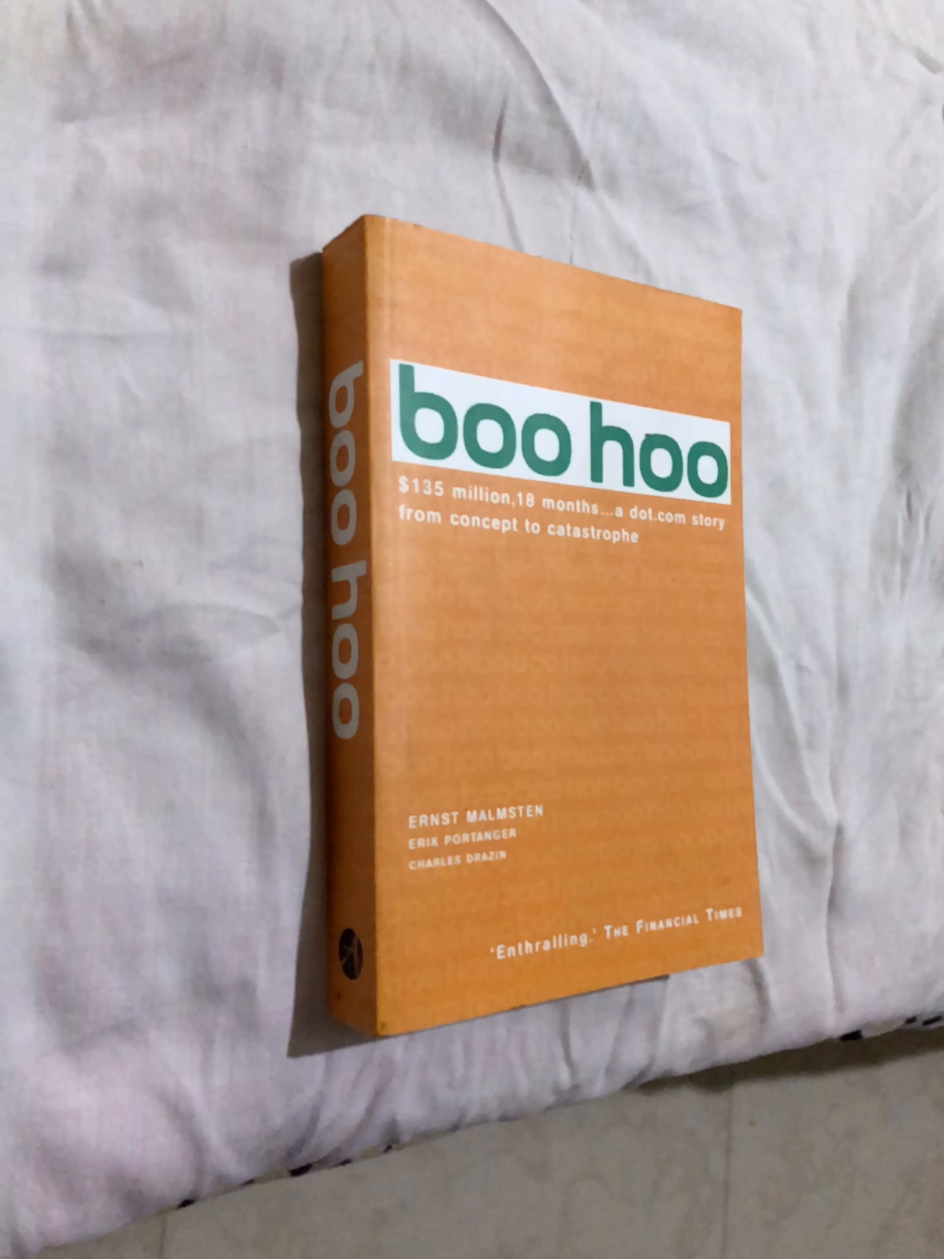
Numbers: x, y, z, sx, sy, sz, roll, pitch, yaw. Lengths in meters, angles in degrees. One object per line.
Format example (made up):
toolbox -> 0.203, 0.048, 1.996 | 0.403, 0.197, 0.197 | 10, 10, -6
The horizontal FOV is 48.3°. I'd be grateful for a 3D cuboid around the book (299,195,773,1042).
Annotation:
book -> 0.020, -0.002, 0.298 | 0.131, 0.040, 0.200 | 1, 86, -30
